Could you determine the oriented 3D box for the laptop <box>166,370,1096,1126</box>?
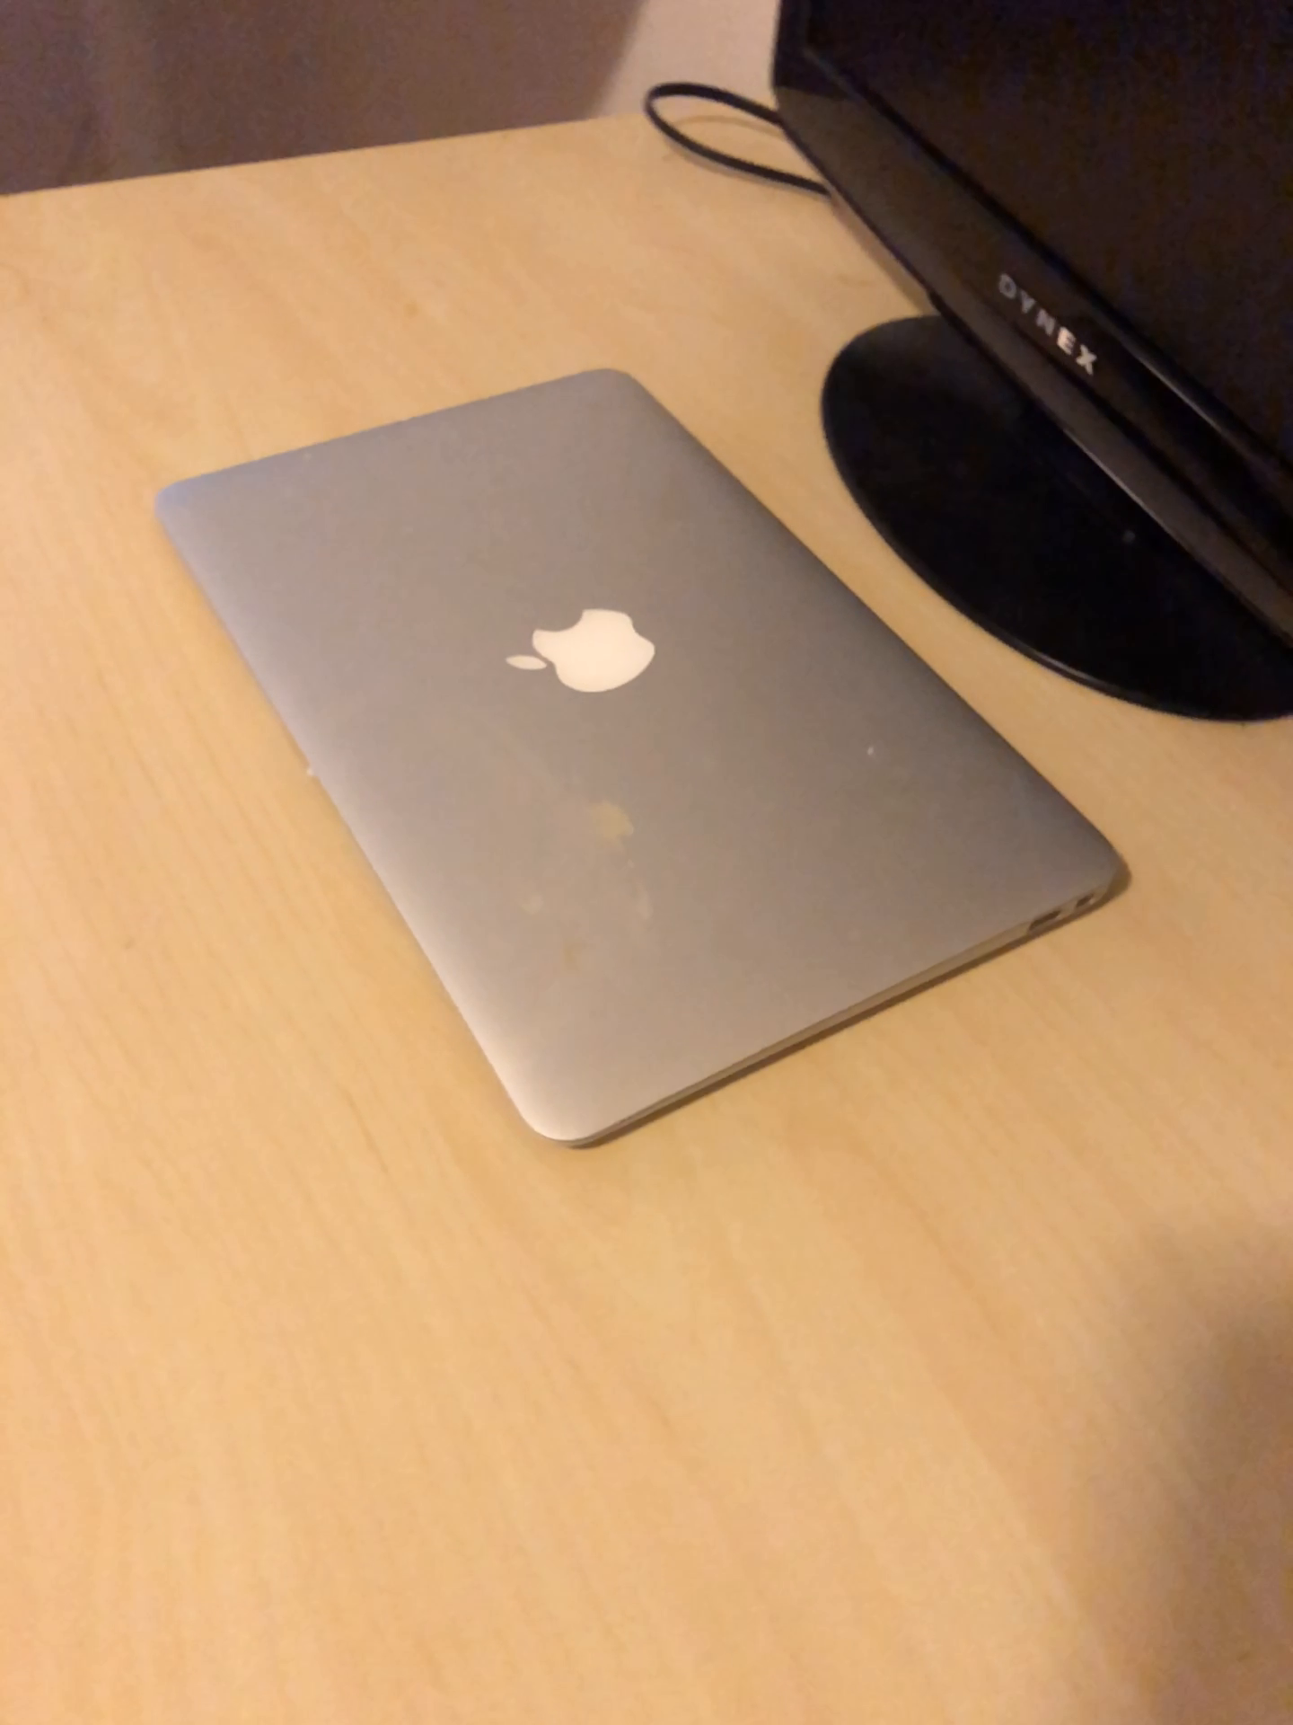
[{"bbox_3d":[-0.018,-0.064,0.461,0.181,0.005,0.279,-24,56,-21],"label":"laptop"}]
